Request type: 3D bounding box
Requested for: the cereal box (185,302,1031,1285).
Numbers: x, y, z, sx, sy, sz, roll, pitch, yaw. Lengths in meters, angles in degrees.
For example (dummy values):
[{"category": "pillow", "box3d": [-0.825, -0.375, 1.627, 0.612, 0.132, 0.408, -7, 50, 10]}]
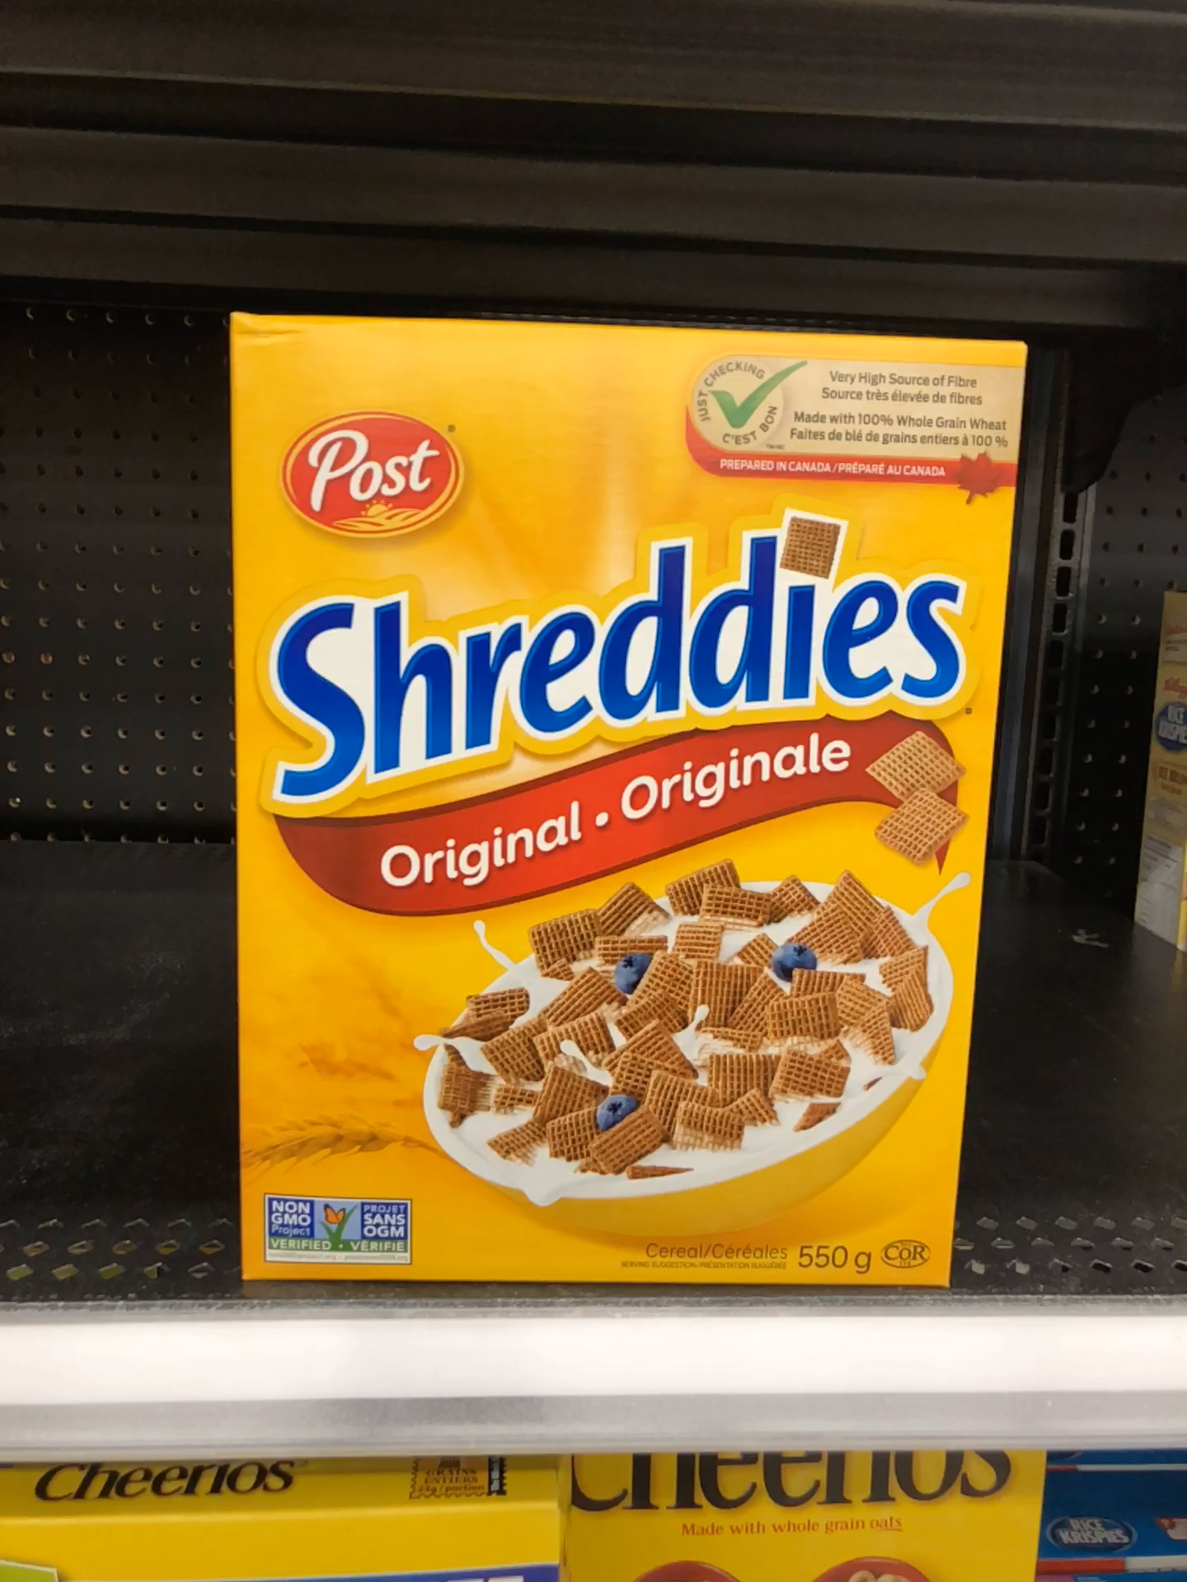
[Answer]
[{"category": "cereal box", "box3d": [-0.001, 0.004, 0.381, 0.210, 0.259, 0.070, 1, 10, -4]}]
